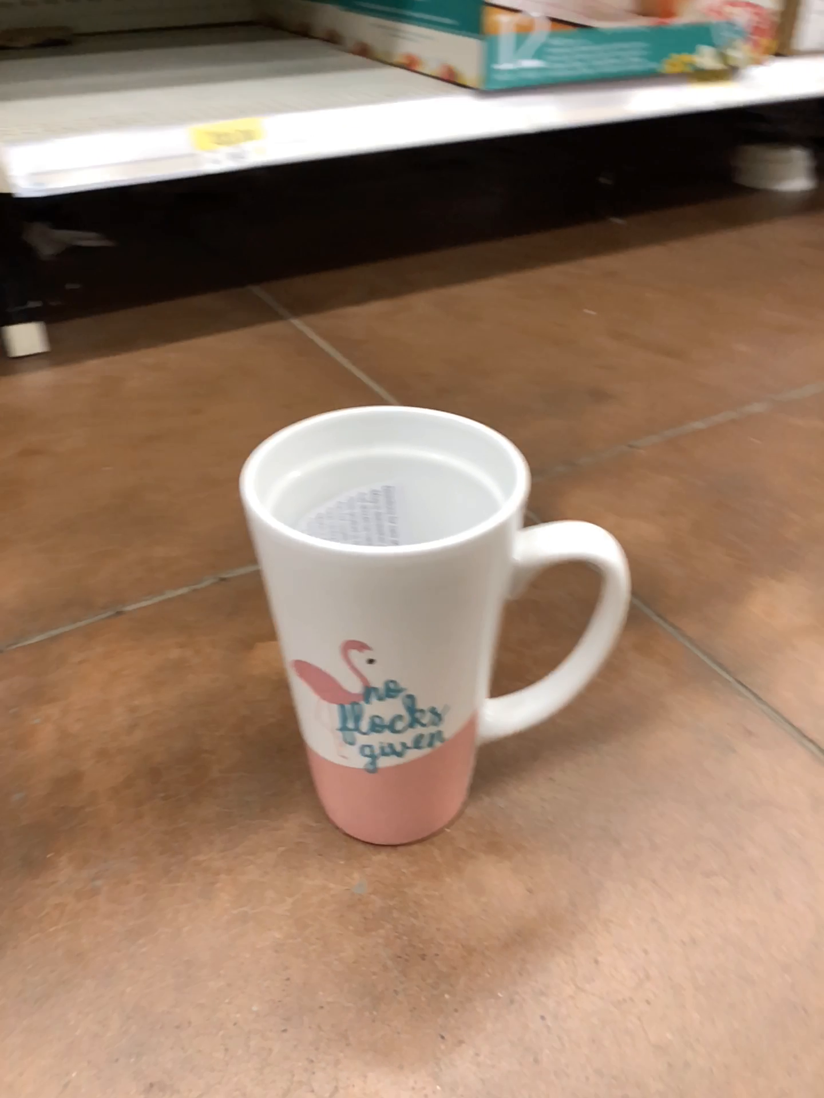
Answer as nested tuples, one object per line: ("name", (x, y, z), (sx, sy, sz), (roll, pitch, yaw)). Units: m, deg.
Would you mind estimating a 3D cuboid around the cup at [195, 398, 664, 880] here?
("cup", (0.005, 0.032, 0.335), (0.130, 0.139, 0.100), (-2, 35, -1))
